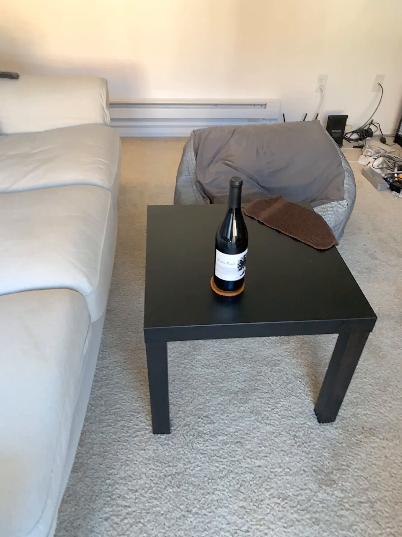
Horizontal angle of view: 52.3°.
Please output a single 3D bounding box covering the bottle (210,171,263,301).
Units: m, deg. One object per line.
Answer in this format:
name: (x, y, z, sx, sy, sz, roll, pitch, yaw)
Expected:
bottle: (0.069, -0.062, 0.887, 0.080, 0.268, 0.101, 0, 38, -4)
